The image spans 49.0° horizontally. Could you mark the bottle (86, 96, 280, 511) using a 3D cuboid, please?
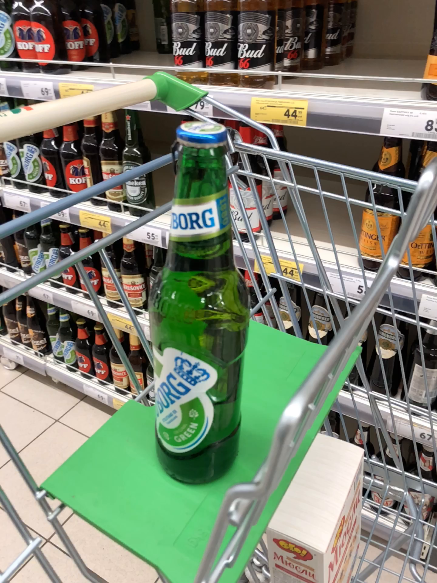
[{"bbox_3d":[-0.020,0.018,0.317,0.070,0.258,0.080,-20,37,-28],"label":"bottle"}]
